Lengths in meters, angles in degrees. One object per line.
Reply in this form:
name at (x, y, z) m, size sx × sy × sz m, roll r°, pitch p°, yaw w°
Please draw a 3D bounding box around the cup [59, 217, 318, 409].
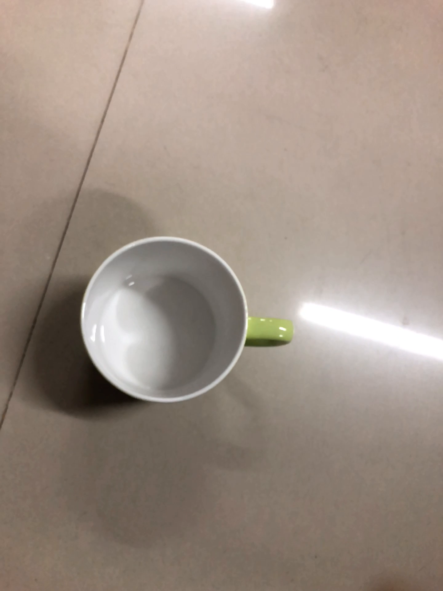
cup at (-0.016, 0.014, 0.239) m, size 0.100 × 0.080 × 0.070 m, roll 5°, pitch 79°, yaw -9°
